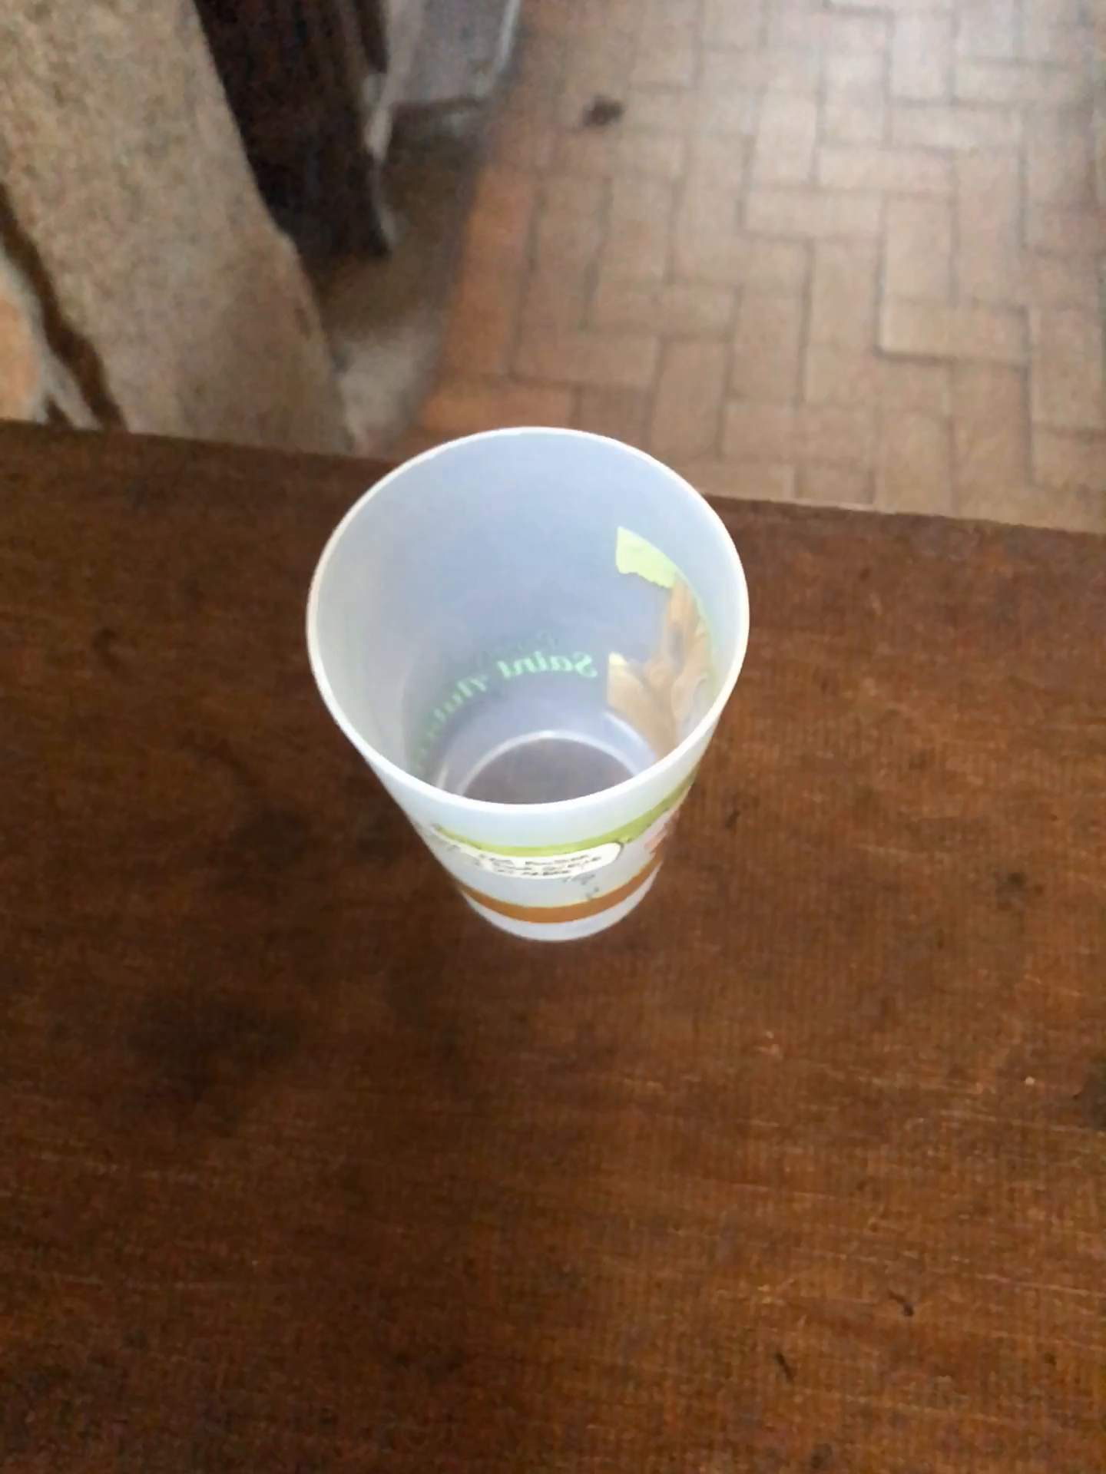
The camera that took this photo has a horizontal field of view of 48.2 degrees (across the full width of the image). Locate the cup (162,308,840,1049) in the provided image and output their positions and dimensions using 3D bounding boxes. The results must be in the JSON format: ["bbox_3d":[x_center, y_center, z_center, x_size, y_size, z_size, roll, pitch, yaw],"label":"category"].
[{"bbox_3d":[-0.007,-0.003,0.258,0.080,0.120,0.080,-1,65,2],"label":"cup"}]

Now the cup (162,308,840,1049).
[{"bbox_3d":[-0.007,-0.003,0.258,0.080,0.120,0.080,-1,65,2],"label":"cup"}]
